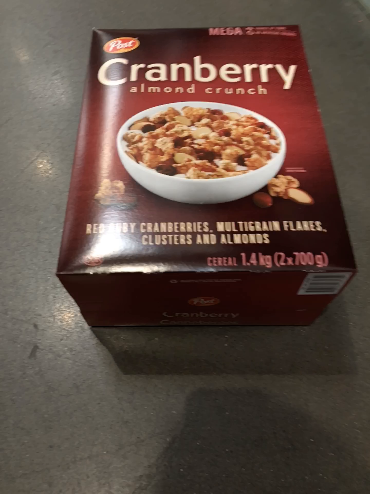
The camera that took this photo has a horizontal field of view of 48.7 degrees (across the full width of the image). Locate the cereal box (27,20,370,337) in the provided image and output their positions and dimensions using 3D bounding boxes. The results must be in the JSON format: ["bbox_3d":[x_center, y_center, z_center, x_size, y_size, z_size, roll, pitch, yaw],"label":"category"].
[{"bbox_3d":[0.007,-0.081,0.434,0.260,0.130,0.310,-2,62,-2],"label":"cereal box"}]
